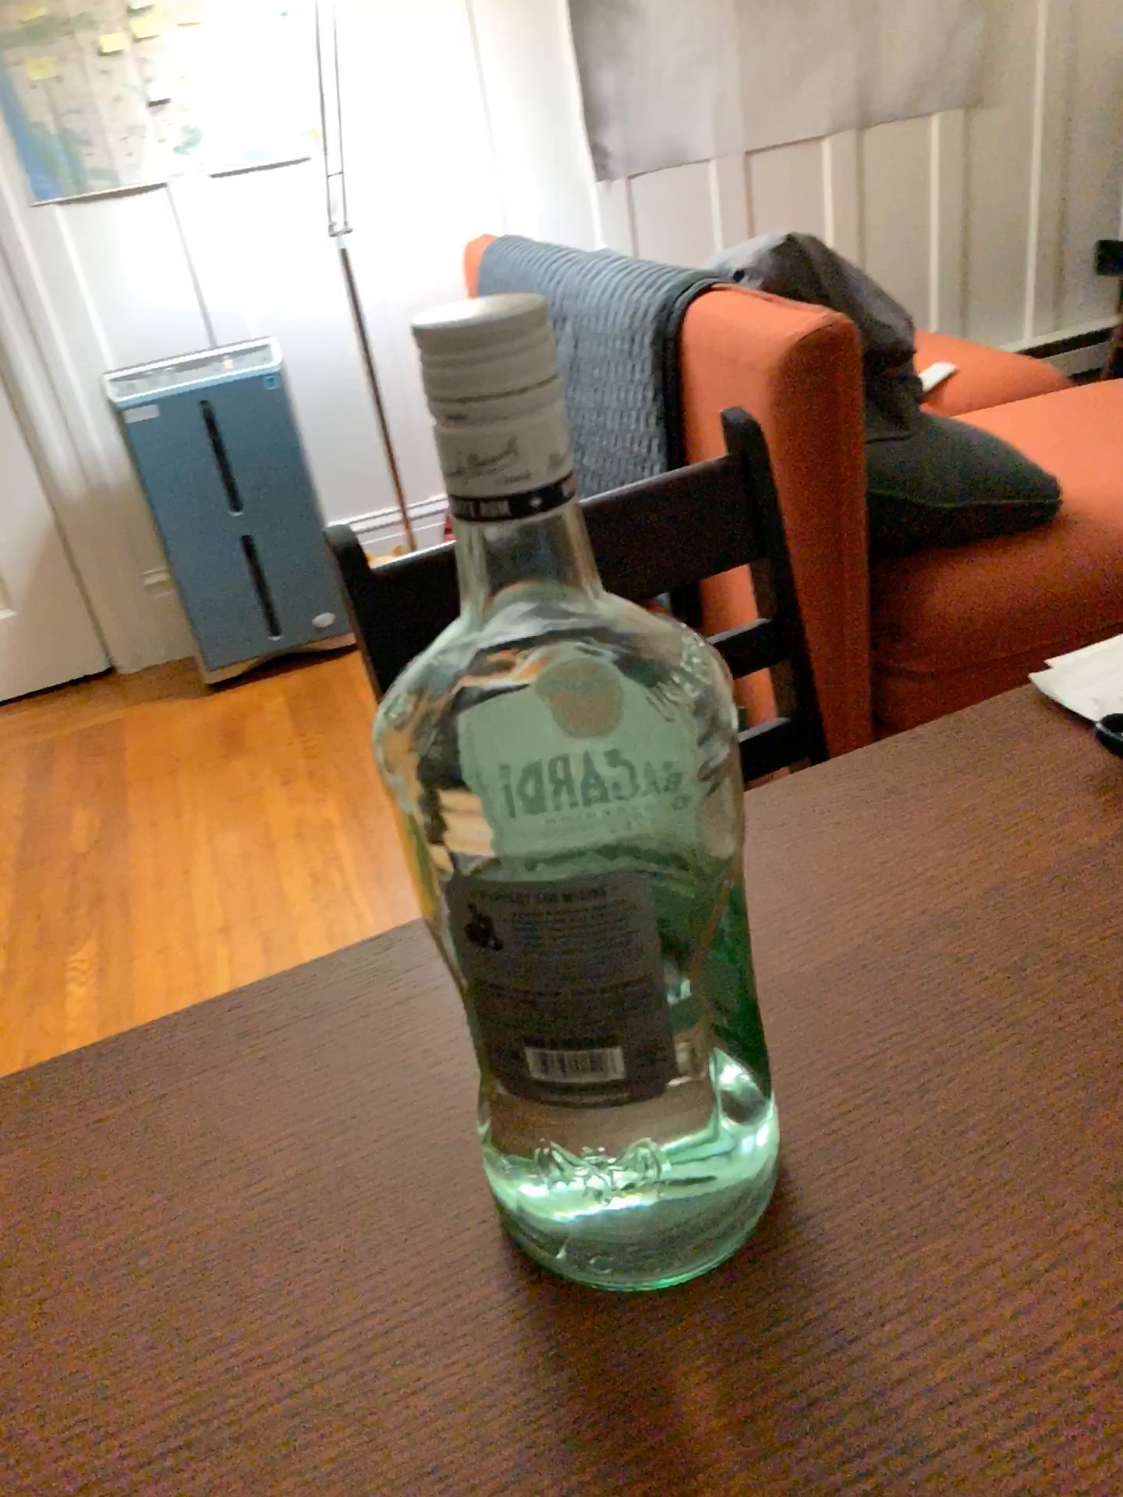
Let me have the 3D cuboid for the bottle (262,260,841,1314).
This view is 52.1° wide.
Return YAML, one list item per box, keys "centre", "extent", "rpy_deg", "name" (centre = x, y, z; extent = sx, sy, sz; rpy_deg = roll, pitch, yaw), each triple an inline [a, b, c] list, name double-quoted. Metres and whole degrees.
- centre: [0.023, 0.029, 0.385]
  extent: [0.120, 0.328, 0.121]
  rpy_deg: [-8, 30, 4]
  name: "bottle"
